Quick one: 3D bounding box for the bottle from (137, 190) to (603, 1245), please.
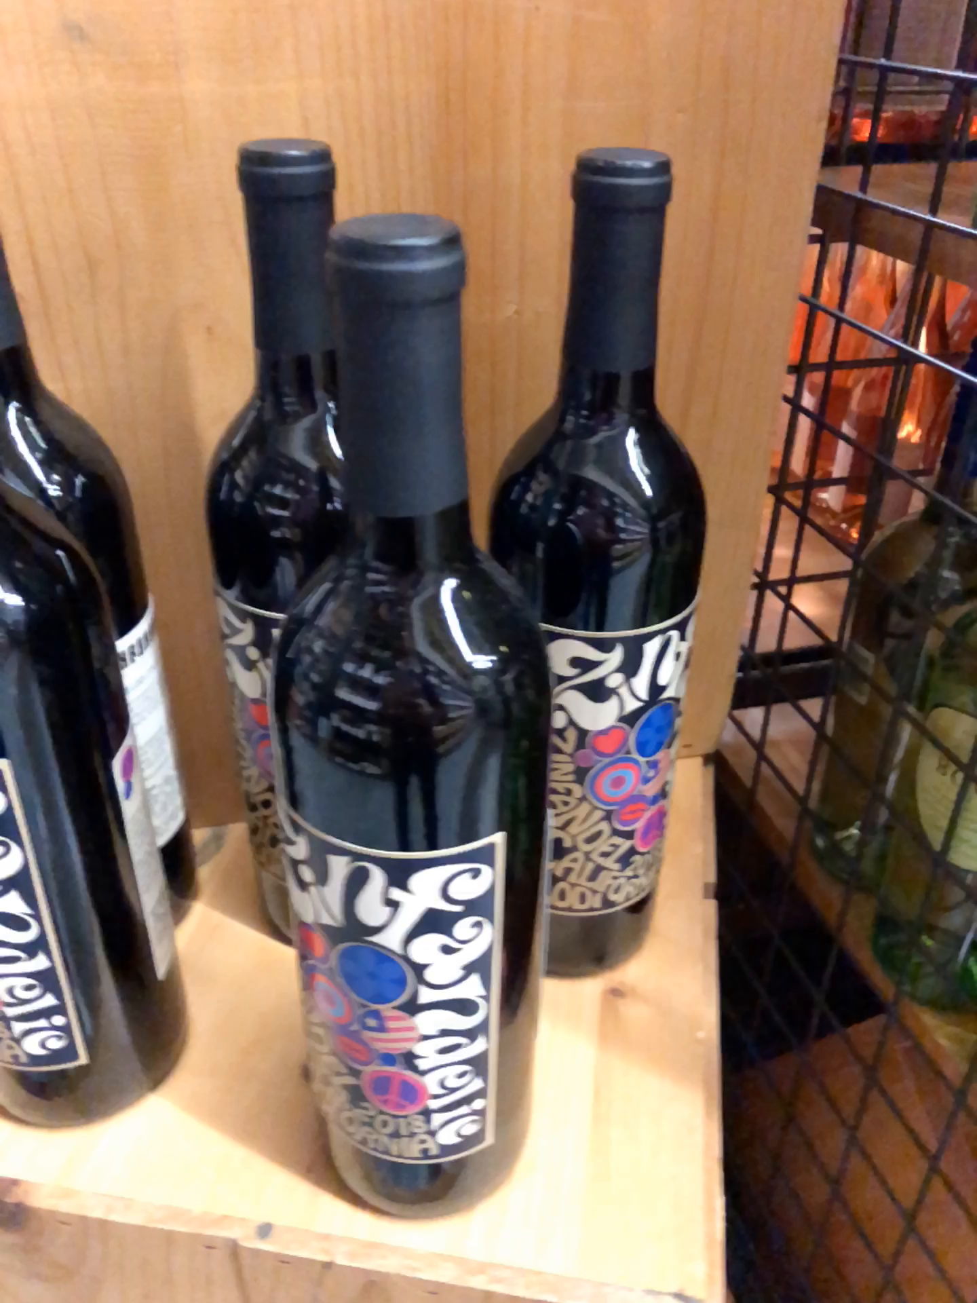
[{"bbox_3d":[-0.021,0.037,0.291,0.073,0.286,0.070,1,32,0],"label":"bottle"}]

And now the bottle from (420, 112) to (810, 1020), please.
[{"bbox_3d":[0.031,-0.014,0.386,0.080,0.310,0.077,1,32,0],"label":"bottle"}]

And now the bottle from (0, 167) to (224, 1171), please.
[{"bbox_3d":[-0.152,0.025,0.330,0.080,0.304,0.077,1,32,0],"label":"bottle"}]

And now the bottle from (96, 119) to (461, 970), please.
[{"bbox_3d":[-0.062,-0.026,0.373,0.080,0.274,0.077,1,32,0],"label":"bottle"}]

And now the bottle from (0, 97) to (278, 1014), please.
[{"bbox_3d":[-0.138,-0.020,0.356,0.077,0.280,0.080,1,32,0],"label":"bottle"}]
